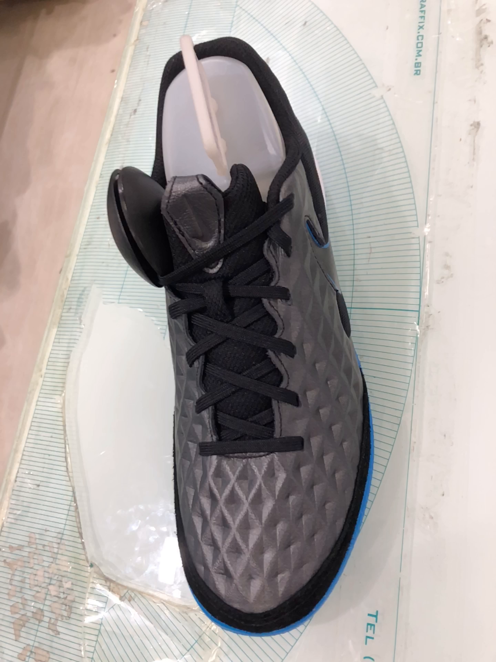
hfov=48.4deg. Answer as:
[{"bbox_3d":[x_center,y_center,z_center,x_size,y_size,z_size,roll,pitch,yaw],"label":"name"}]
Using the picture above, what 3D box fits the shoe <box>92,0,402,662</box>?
[{"bbox_3d":[0.008,-0.011,0.270,0.100,0.100,0.291,-6,69,15],"label":"shoe"}]
